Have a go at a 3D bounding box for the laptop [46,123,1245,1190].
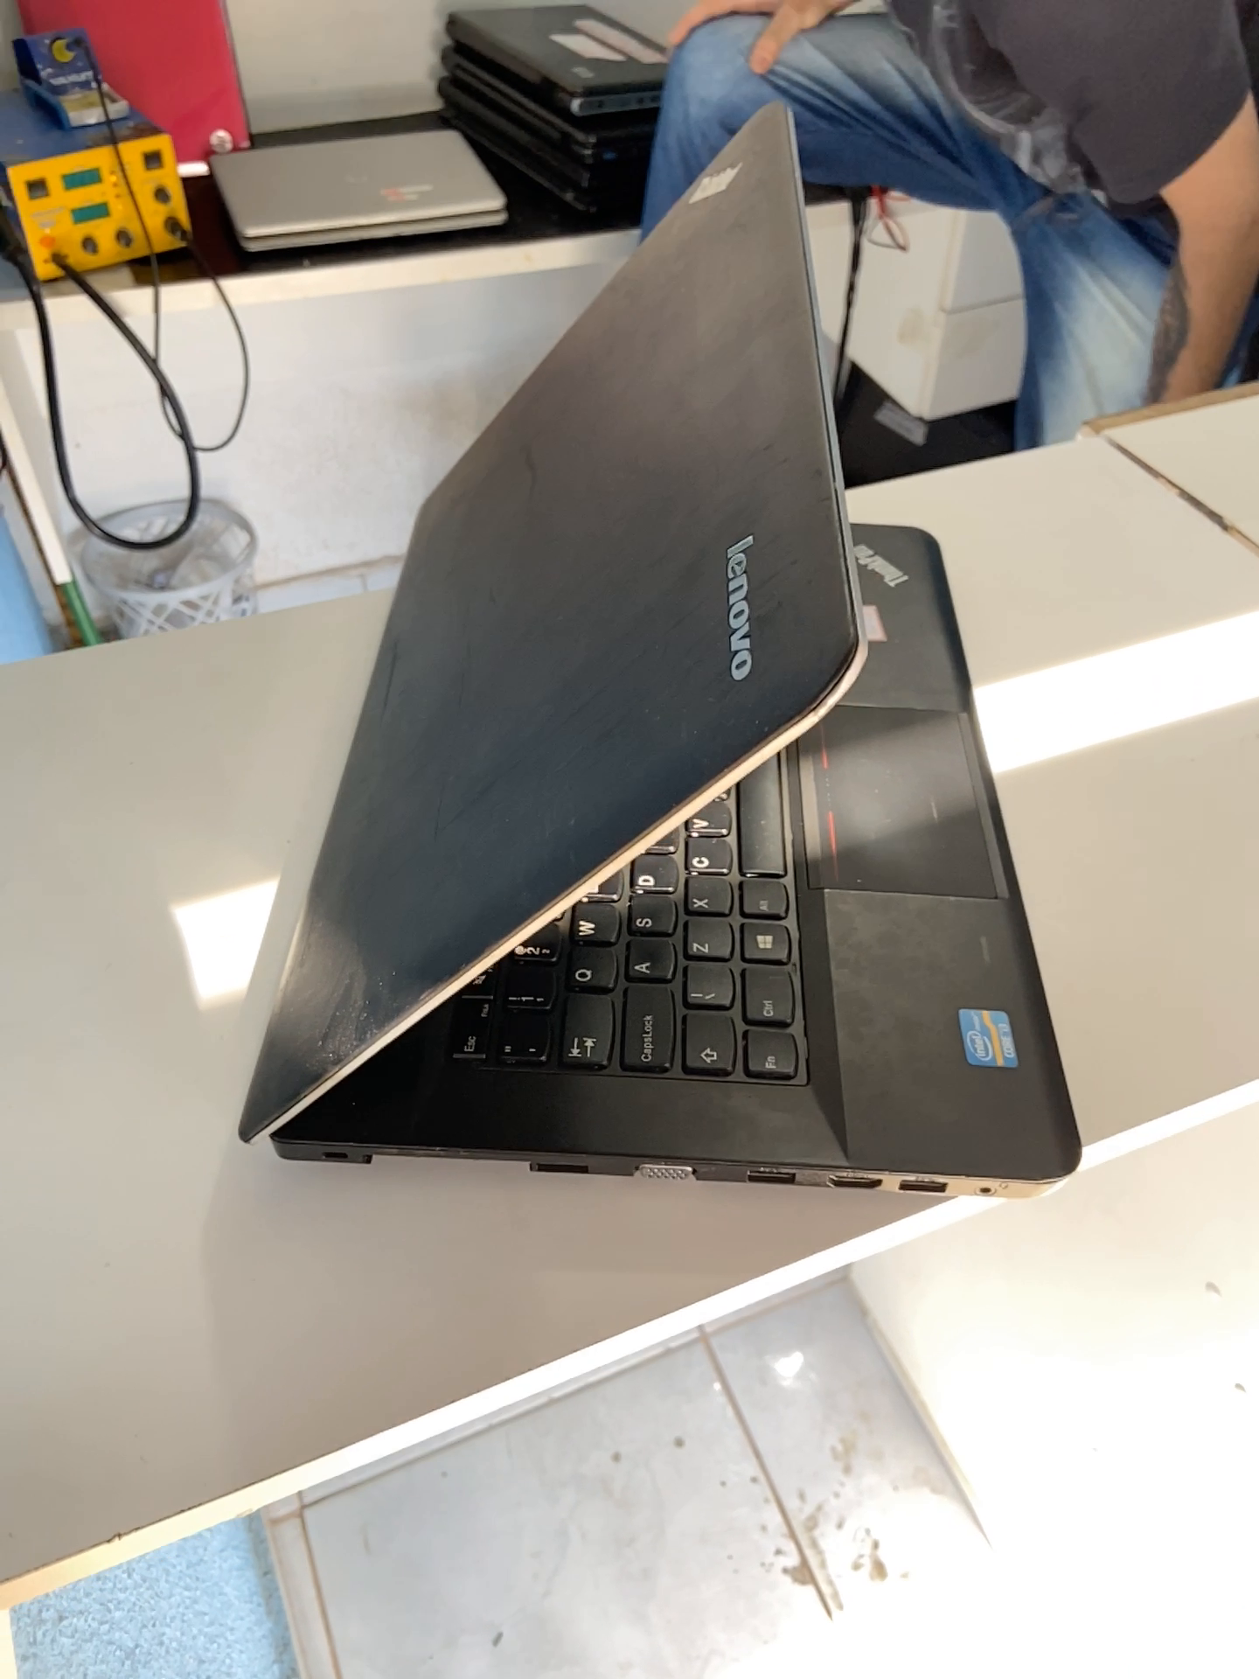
[{"bbox_3d":[0.008,-0.084,0.424,0.230,0.165,0.332,2,45,1],"label":"laptop"}]
